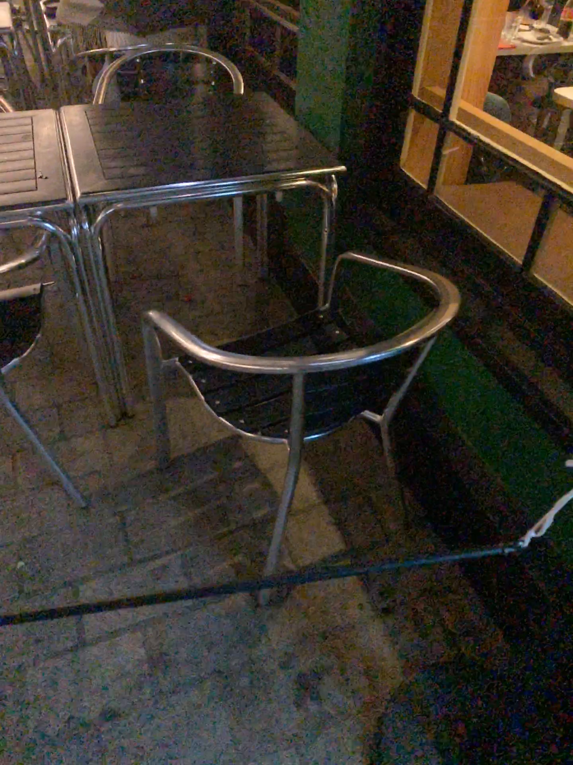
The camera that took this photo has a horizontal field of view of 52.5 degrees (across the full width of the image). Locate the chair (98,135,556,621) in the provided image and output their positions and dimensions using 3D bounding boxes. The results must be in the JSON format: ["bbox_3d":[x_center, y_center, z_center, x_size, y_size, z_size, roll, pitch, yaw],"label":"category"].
[{"bbox_3d":[0.043,-0.048,1.412,0.662,0.782,0.655,-21,46,-25],"label":"chair"}]
